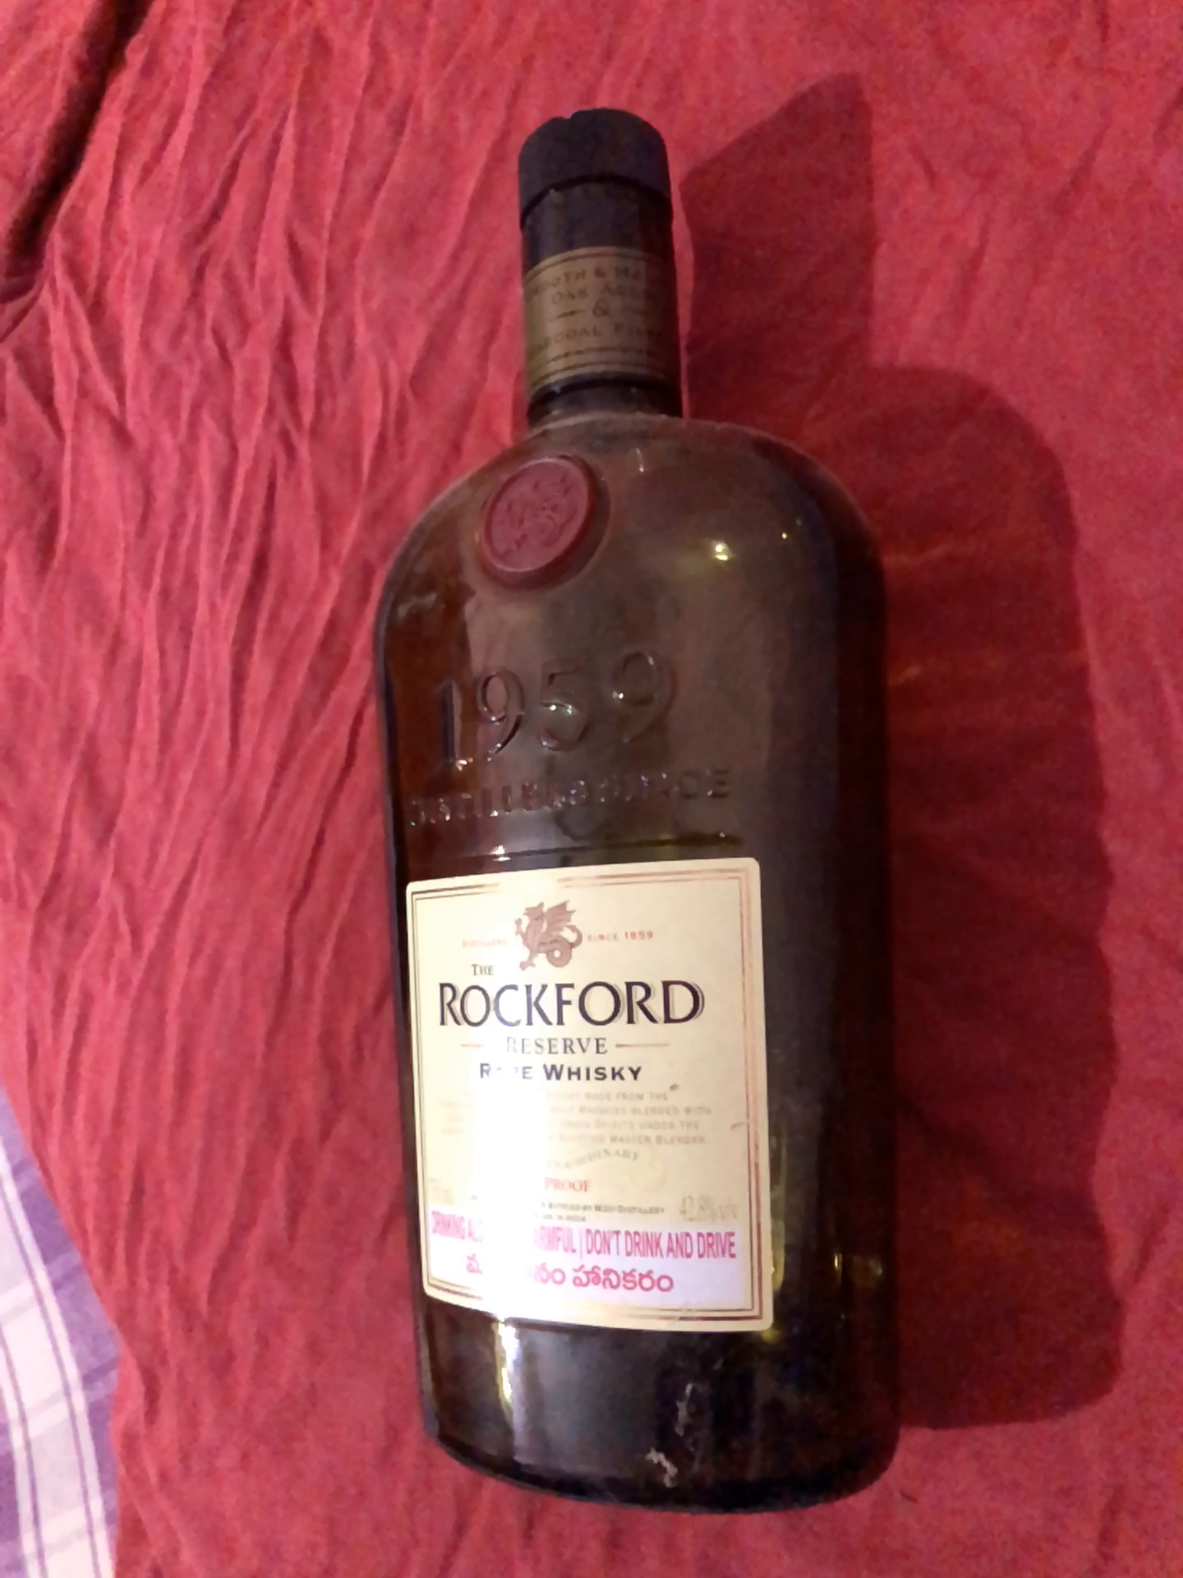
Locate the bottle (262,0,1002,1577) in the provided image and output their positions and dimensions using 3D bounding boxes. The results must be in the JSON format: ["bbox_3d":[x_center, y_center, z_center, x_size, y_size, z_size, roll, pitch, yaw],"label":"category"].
[{"bbox_3d":[0.003,-0.011,0.231,0.100,0.060,0.250,-7,82,29],"label":"bottle"}]
